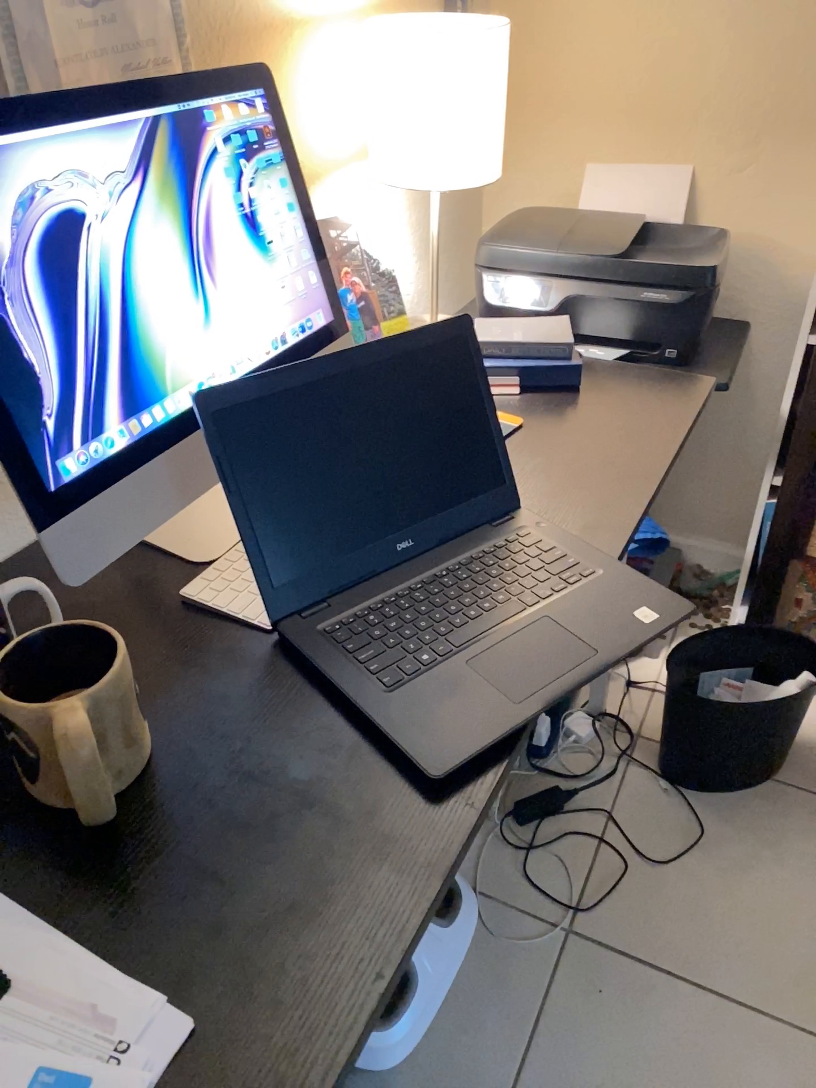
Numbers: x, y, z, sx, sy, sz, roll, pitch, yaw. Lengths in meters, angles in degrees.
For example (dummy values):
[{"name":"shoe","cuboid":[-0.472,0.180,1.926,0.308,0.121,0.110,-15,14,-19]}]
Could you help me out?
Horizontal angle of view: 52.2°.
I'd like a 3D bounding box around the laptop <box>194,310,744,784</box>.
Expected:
[{"name":"laptop","cuboid":[0.046,-0.037,0.786,0.337,0.206,0.344,-25,41,-30]}]
